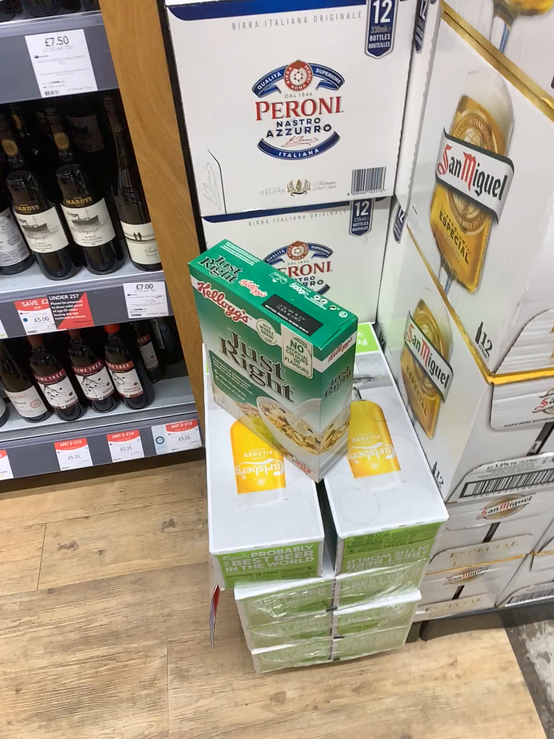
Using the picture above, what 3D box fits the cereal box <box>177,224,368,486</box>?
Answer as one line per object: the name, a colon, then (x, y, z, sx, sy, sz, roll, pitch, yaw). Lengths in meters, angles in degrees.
cereal box: (-0.004, -0.011, 0.634, 0.191, 0.238, 0.070, 35, 59, 29)
